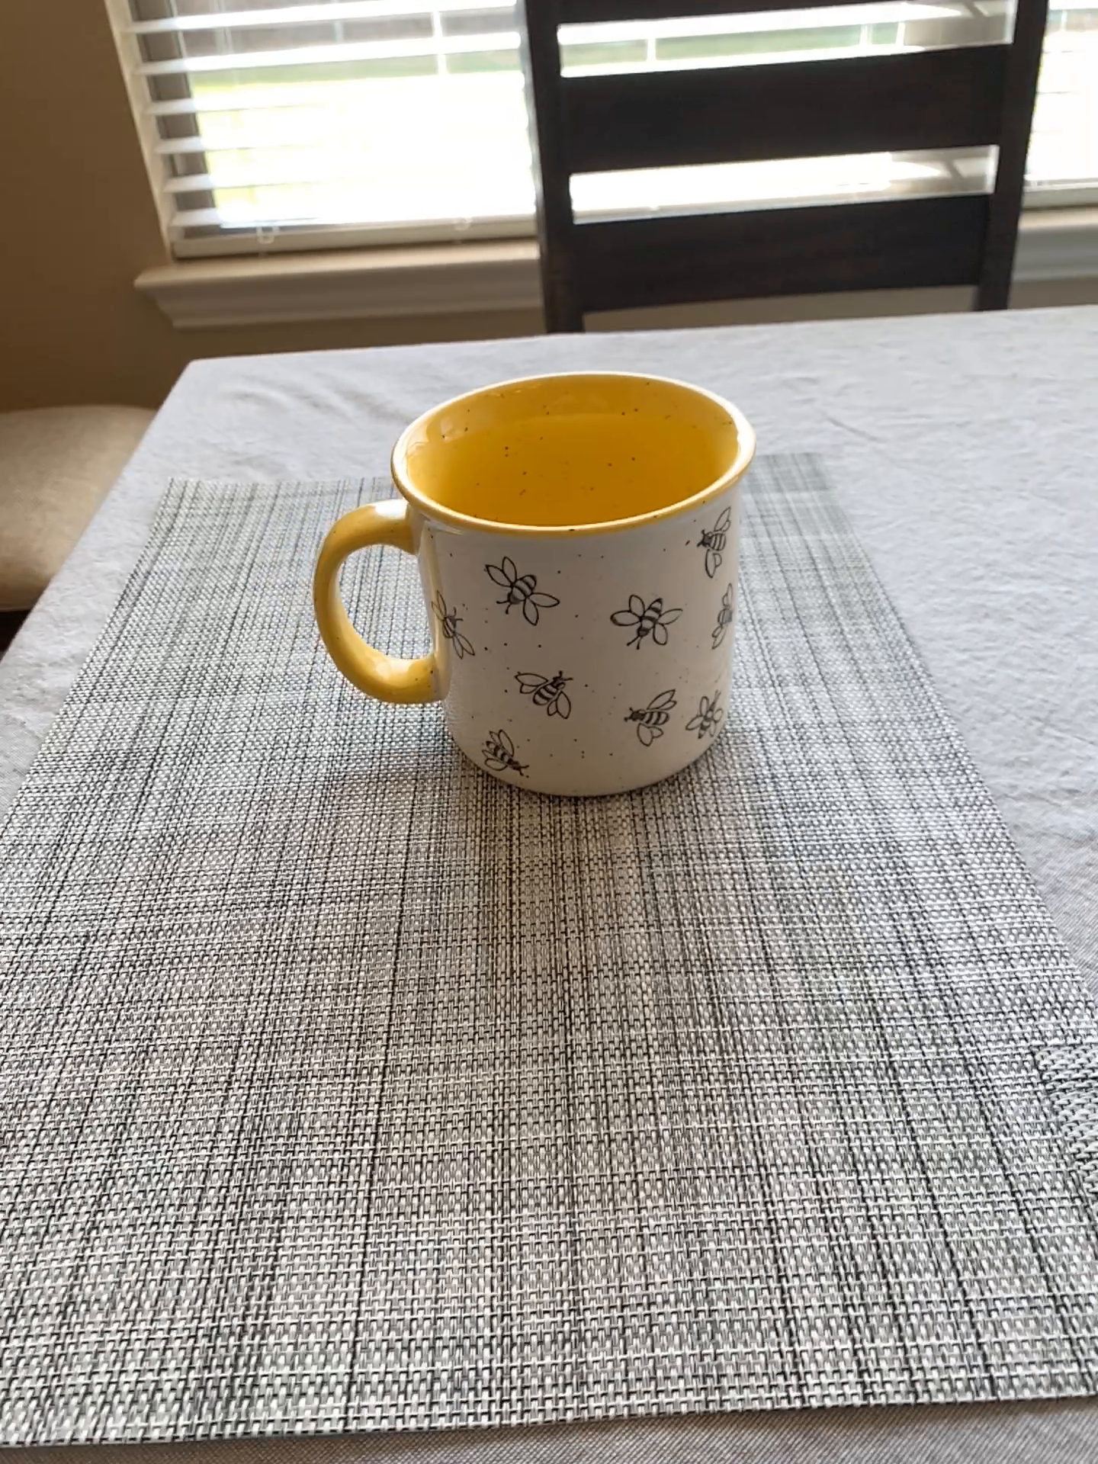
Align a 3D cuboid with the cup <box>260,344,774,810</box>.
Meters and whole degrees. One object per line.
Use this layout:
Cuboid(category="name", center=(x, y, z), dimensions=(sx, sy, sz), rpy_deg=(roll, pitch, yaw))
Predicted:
Cuboid(category="cup", center=(-0.005, -0.053, 0.377), dimensions=(0.136, 0.107, 0.114), rpy_deg=(-1, 38, 3))
